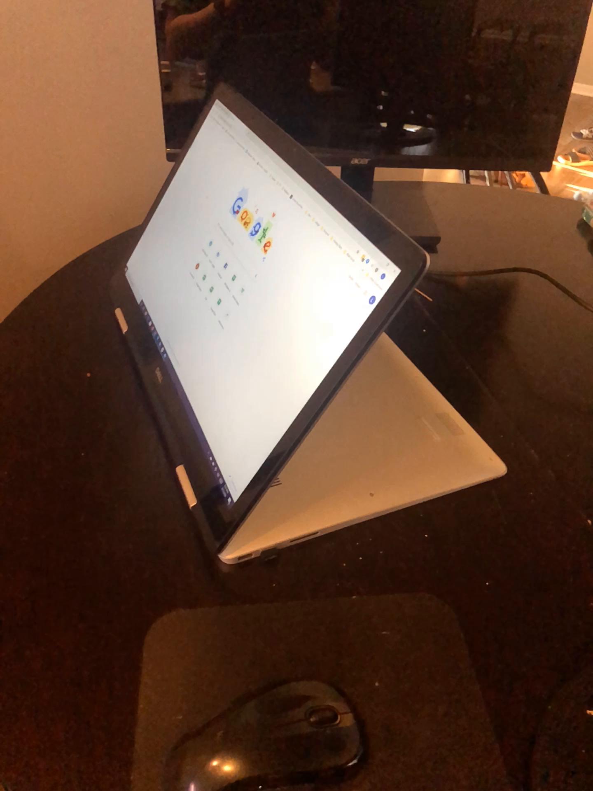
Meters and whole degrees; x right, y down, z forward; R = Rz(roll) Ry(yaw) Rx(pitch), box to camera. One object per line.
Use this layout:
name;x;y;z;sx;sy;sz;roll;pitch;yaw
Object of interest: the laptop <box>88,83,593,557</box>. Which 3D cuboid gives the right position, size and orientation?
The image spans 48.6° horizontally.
laptop;-0.010;-0.114;0.626;0.267;0.232;0.420;-13;41;-18
